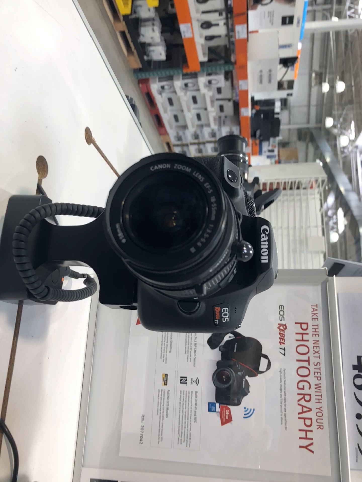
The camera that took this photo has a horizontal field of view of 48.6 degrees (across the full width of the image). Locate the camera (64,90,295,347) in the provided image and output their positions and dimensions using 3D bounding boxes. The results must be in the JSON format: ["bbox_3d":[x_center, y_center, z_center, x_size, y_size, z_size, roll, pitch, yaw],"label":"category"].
[{"bbox_3d":[0.013,0.002,0.275,0.150,0.110,0.130,54,37,-73],"label":"camera"}]
